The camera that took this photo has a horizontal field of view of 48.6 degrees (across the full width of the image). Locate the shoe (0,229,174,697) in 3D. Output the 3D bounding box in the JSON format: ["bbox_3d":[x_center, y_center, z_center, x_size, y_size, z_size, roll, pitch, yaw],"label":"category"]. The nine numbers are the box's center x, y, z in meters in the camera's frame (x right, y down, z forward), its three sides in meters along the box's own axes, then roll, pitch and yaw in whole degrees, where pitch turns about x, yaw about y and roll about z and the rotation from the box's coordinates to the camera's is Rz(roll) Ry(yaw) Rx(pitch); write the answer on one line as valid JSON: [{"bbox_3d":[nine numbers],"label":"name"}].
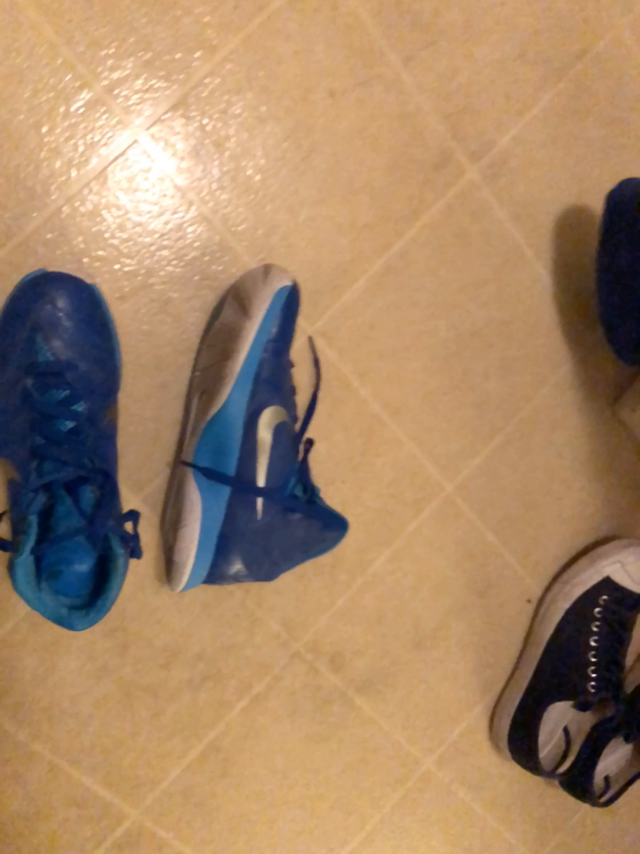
[{"bbox_3d":[-0.195,0.016,0.545,0.120,0.145,0.310,-6,102,-17],"label":"shoe"}]

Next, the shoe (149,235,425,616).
[{"bbox_3d":[-0.036,0.000,0.600,0.159,0.120,0.281,6,98,-24],"label":"shoe"}]
